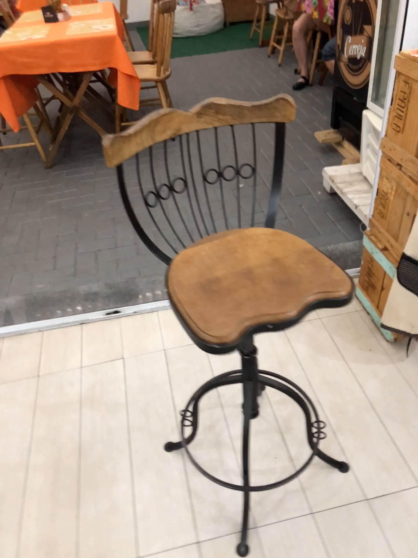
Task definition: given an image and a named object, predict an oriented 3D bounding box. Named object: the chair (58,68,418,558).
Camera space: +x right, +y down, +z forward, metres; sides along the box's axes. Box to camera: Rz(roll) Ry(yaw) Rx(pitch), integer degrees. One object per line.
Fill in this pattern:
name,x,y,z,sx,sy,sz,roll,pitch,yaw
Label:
chair,0.074,0.104,0.998,0.461,0.894,0.473,-21,39,-19
